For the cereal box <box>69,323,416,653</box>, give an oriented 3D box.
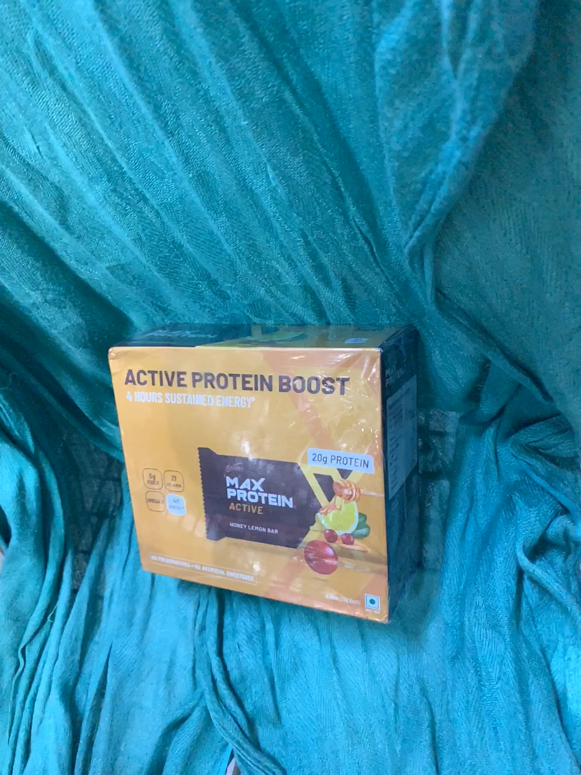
[{"bbox_3d":[-0.022,0.040,0.327,0.160,0.080,0.140,2,103,26],"label":"cereal box"}]
